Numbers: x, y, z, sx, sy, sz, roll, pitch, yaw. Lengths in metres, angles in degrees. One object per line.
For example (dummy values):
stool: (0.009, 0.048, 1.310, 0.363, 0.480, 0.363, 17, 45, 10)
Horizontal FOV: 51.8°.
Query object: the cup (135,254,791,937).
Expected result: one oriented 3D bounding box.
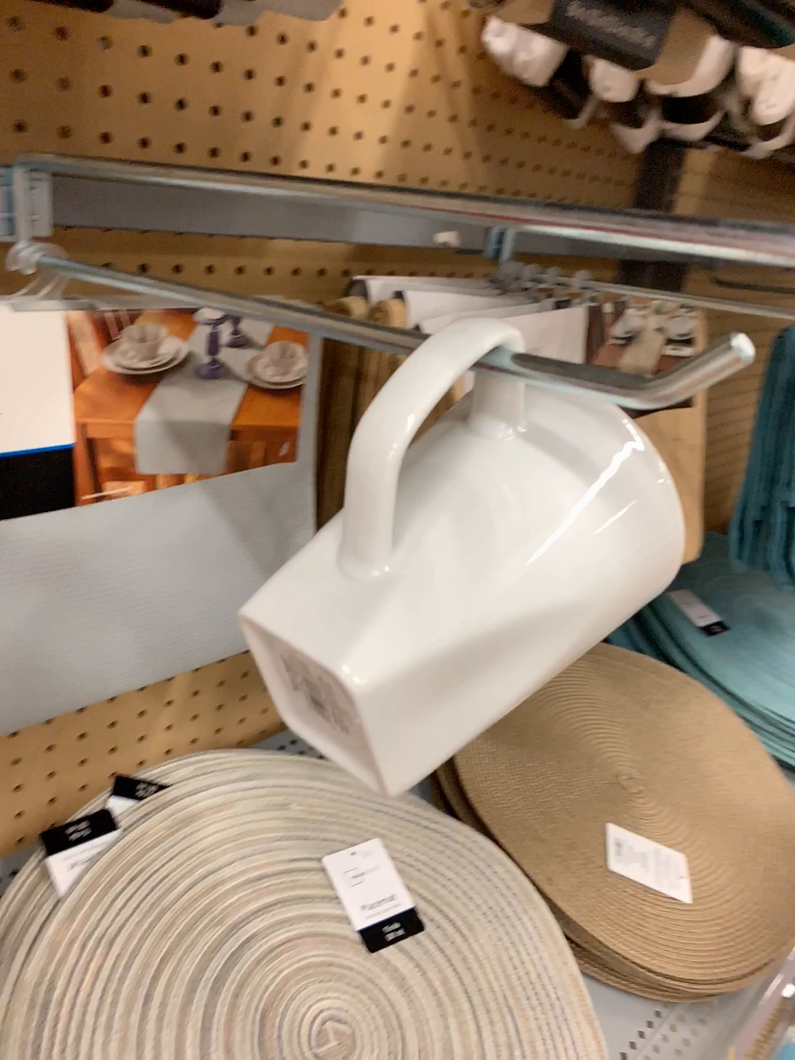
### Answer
cup: (0.023, 0.004, 0.235, 0.140, 0.119, 0.090, -28, 41, -33)
